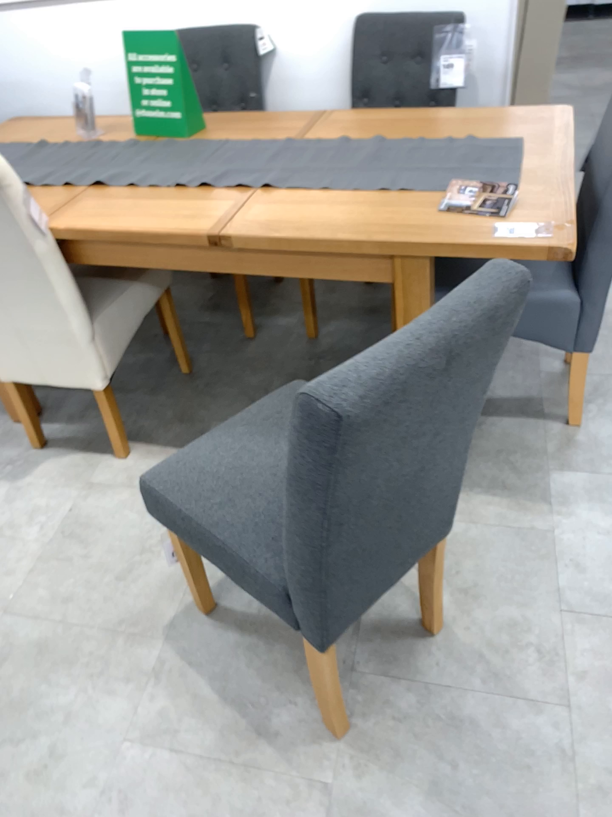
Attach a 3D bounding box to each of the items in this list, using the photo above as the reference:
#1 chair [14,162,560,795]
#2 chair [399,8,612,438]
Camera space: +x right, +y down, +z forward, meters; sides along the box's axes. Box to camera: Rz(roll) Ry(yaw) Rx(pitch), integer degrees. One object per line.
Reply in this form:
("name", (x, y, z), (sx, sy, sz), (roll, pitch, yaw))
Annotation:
("chair", (-0.021, 0.107, 1.130), (0.446, 0.830, 0.646), (-34, 46, -28))
("chair", (0.599, -0.454, 1.652), (0.623, 0.900, 0.508), (5, 41, 15))
